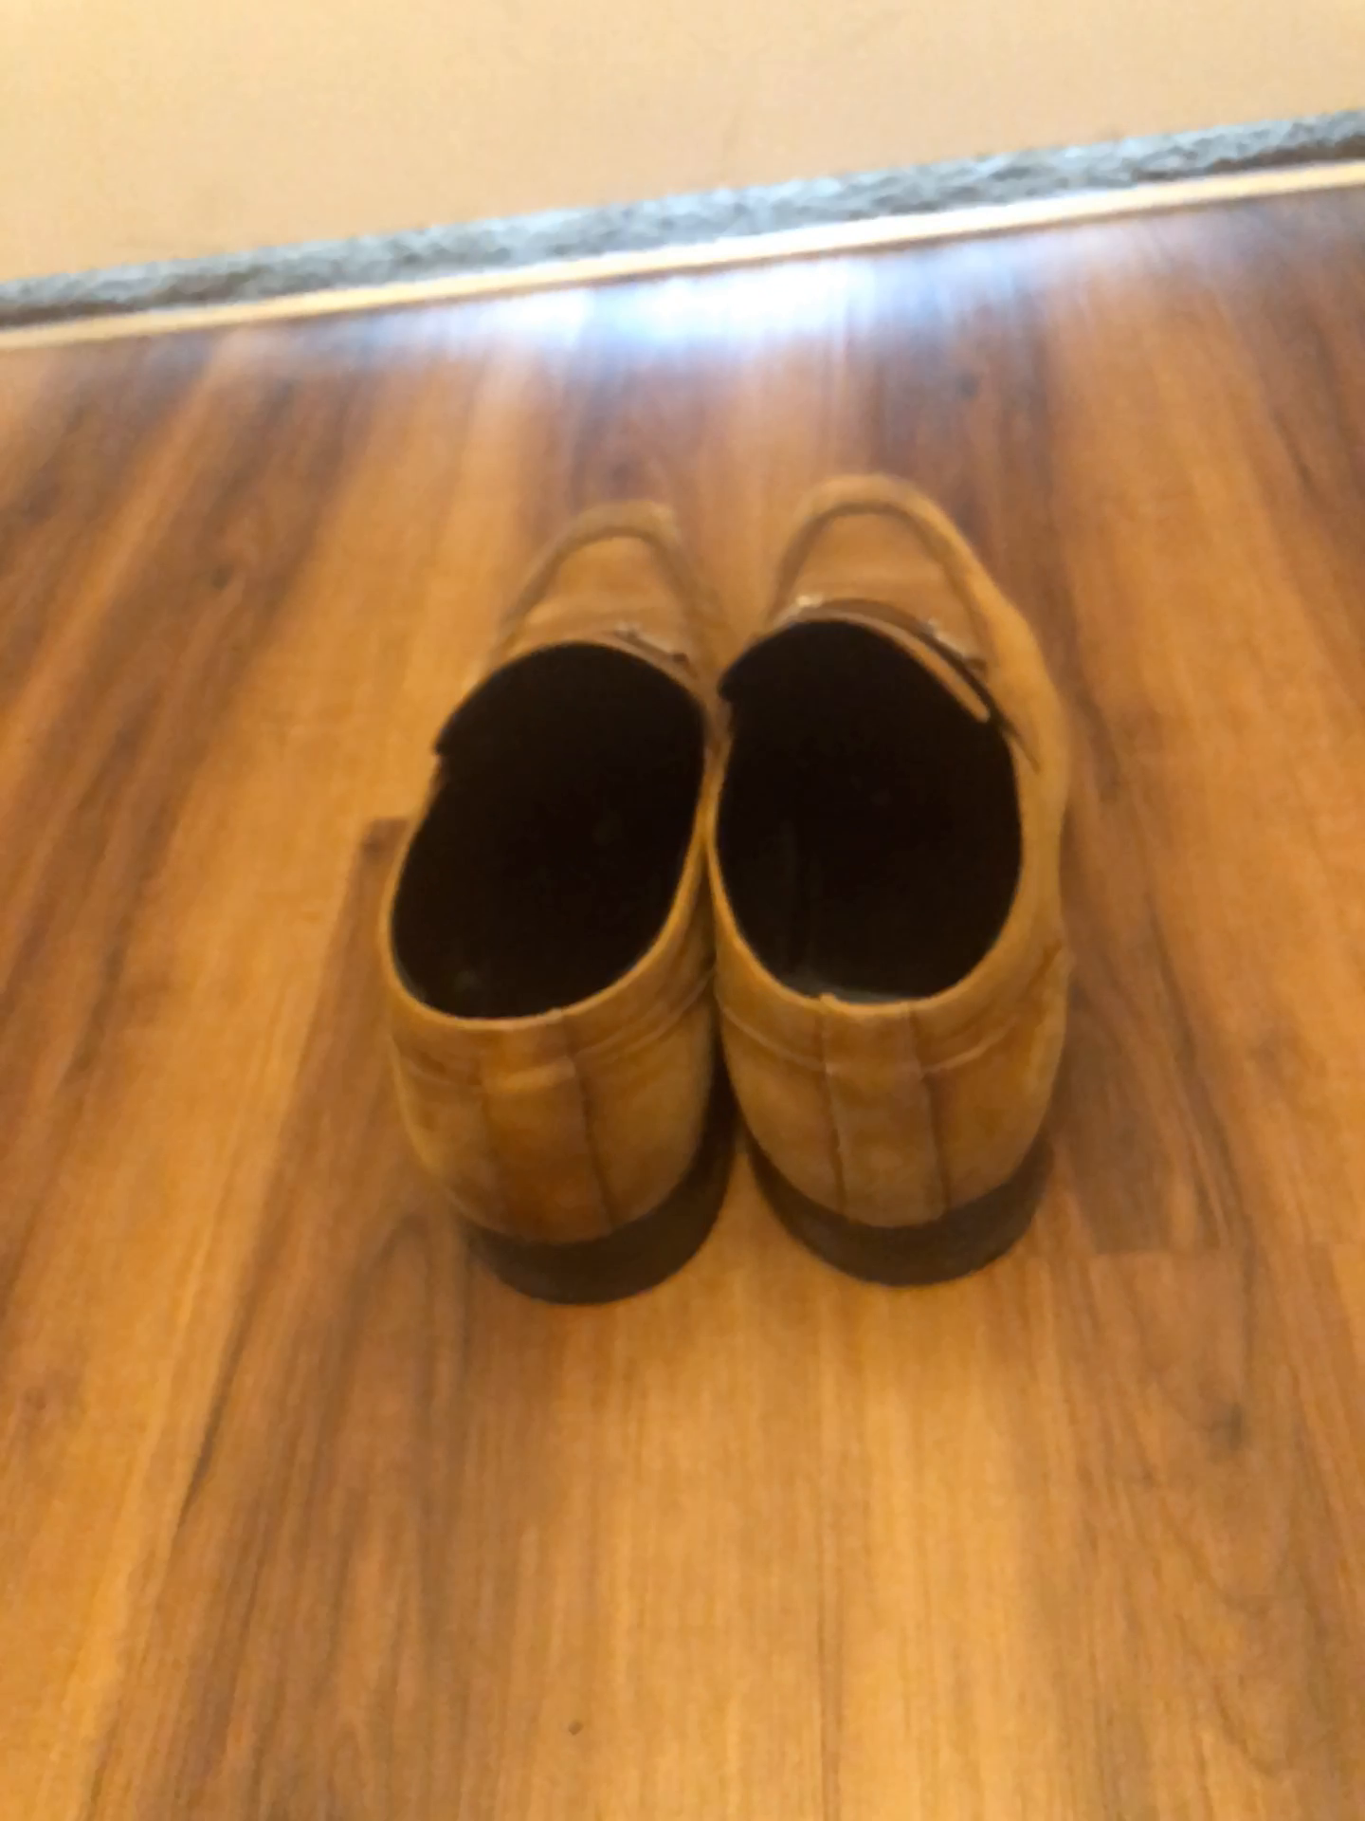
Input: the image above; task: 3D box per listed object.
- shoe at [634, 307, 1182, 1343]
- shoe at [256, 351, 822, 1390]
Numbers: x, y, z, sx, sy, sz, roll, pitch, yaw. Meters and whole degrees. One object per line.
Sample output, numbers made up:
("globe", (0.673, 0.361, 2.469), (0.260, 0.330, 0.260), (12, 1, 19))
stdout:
("shoe", (0.060, -0.044, 0.446), (0.106, 0.112, 0.309), (-4, 46, 8))
("shoe", (-0.029, -0.033, 0.455), (0.106, 0.112, 0.309), (-7, 46, 5))
